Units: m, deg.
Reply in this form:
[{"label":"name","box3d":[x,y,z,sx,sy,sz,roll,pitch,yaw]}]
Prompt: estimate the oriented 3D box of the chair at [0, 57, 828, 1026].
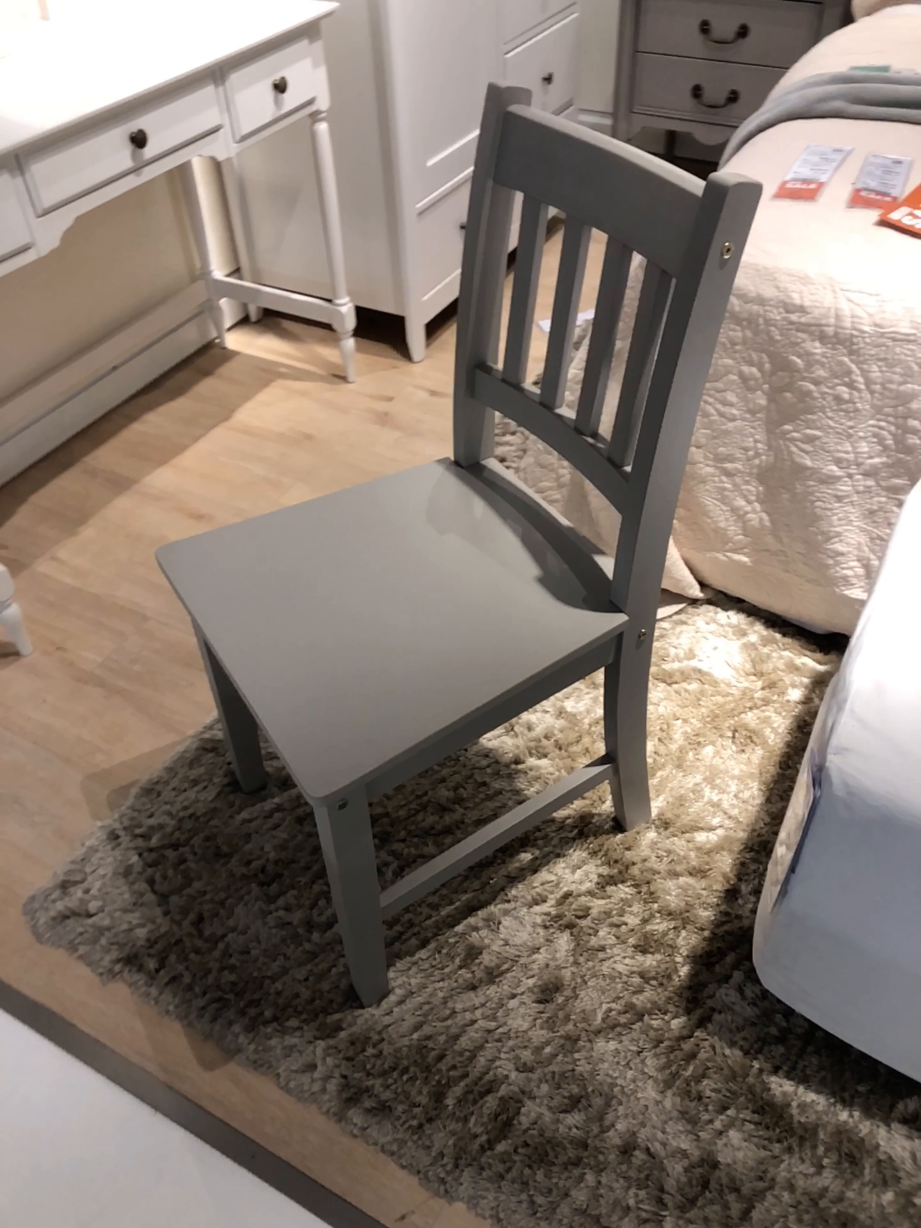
[{"label":"chair","box3d":[-0.052,-0.066,1.131,0.531,0.824,0.483,-24,48,-22]}]
